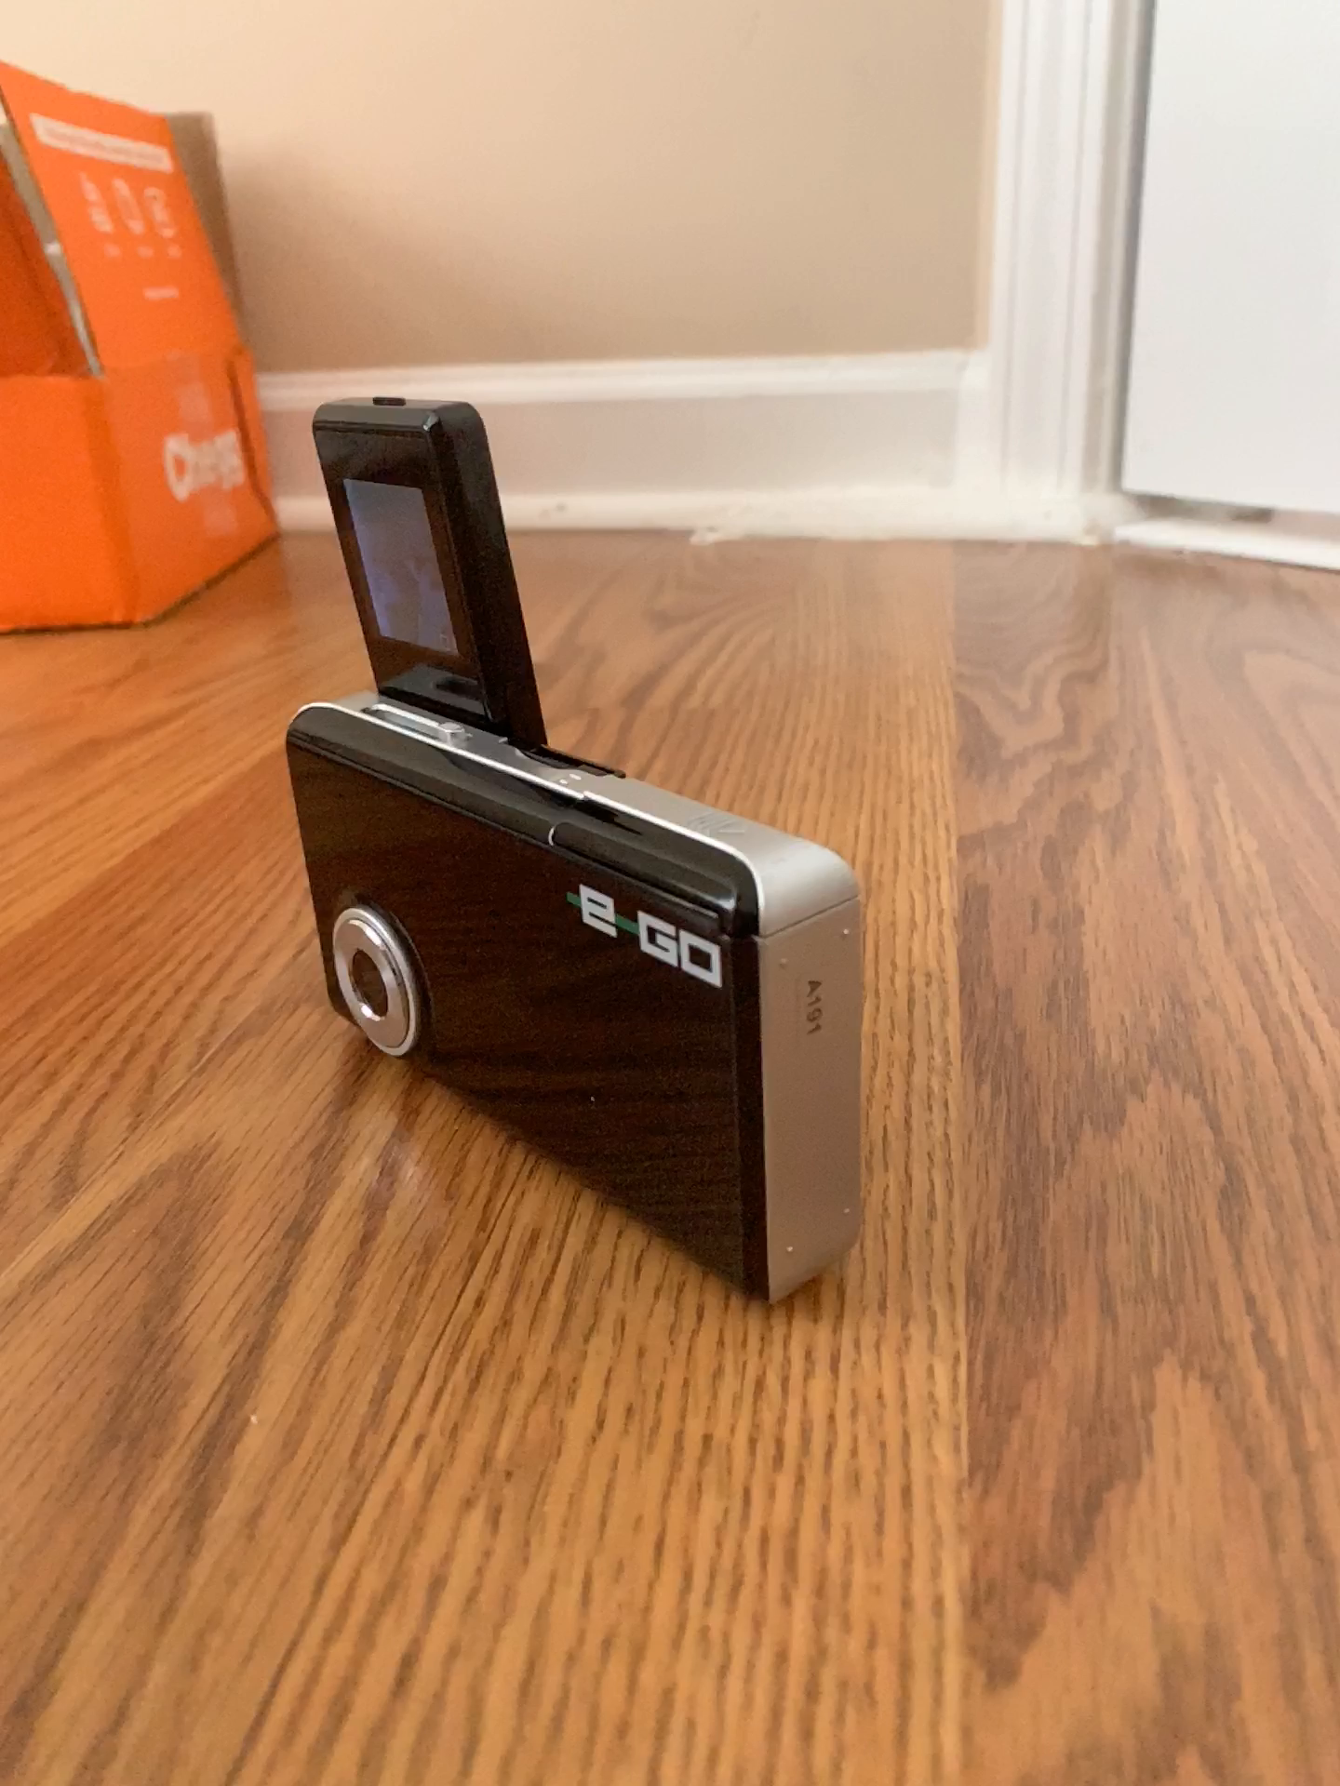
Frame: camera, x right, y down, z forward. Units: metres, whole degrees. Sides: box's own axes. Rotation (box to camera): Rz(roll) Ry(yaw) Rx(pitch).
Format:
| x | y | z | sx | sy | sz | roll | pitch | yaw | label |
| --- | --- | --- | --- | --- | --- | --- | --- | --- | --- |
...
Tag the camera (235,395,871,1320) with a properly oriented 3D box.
| x | y | z | sx | sy | sz | roll | pitch | yaw | label |
| --- | --- | --- | --- | --- | --- | --- | --- | --- | --- |
| -0.022 | -0.015 | 0.211 | 0.022 | 0.111 | 0.119 | -20 | 28 | -36 | camera |
